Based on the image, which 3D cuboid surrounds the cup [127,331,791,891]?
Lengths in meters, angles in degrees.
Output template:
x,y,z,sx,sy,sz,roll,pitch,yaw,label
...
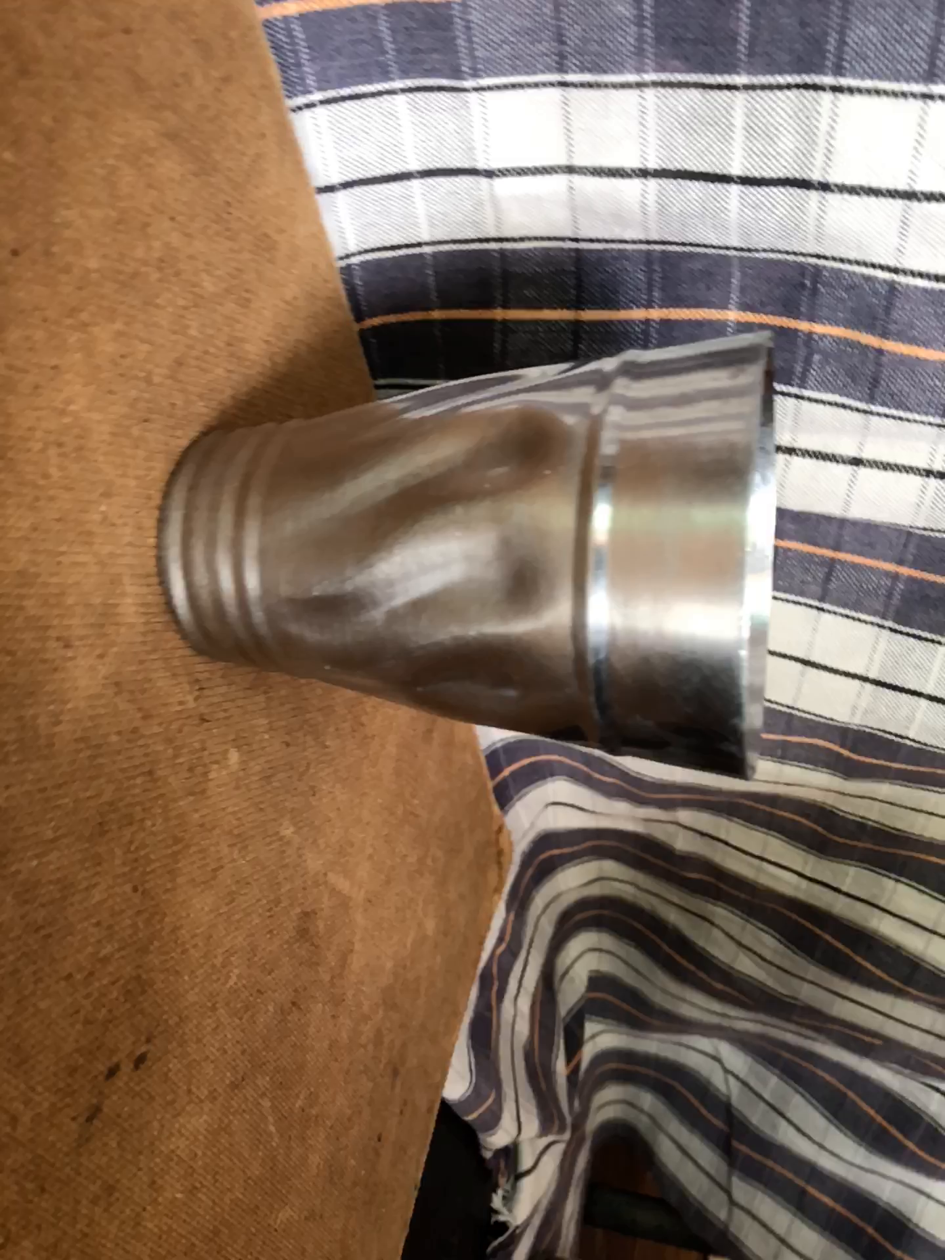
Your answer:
x,y,z,sx,sy,sz,roll,pitch,yaw,label
0.007,-0.011,0.202,0.080,0.099,0.080,2,90,-73,cup
